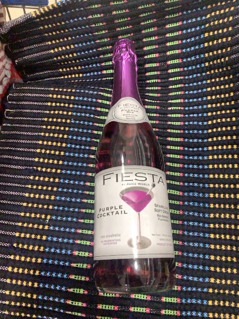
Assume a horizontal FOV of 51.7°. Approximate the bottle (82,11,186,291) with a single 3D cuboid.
[{"bbox_3d":[0.009,-0.032,0.298,0.080,0.080,0.330,-2,64,2],"label":"bottle"}]
